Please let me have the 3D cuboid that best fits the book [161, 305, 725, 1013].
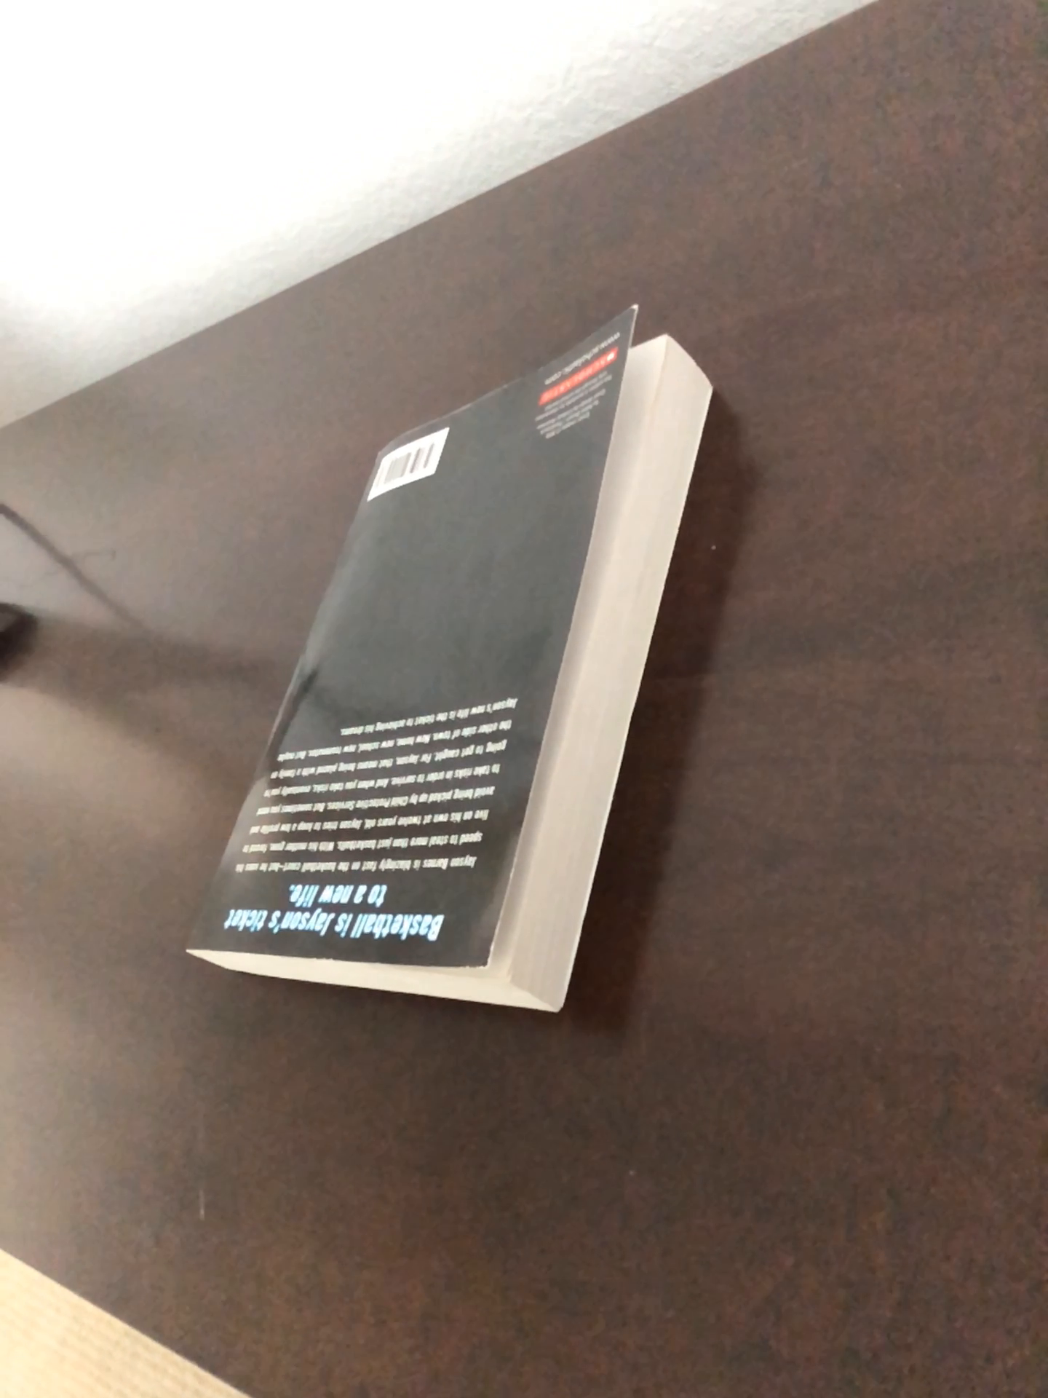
[{"bbox_3d":[-0.024,-0.011,0.358,0.140,0.036,0.198,-10,54,45],"label":"book"}]
